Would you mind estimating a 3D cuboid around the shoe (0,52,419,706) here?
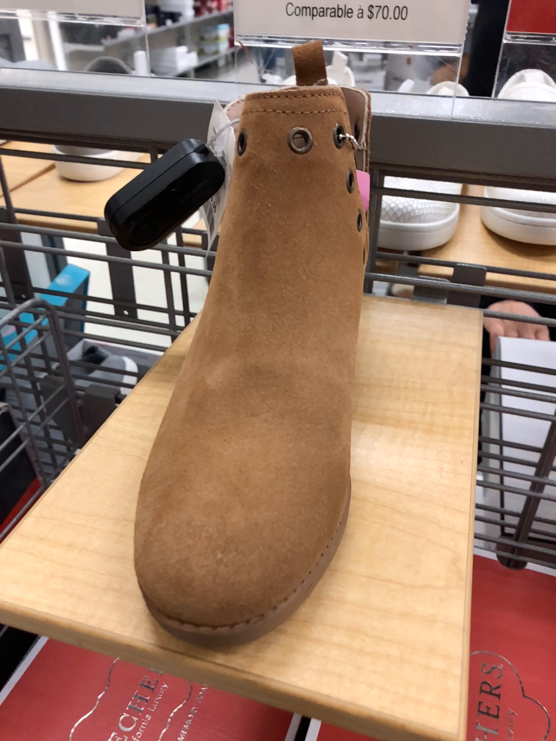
[{"bbox_3d":[-0.001,-0.041,0.262,0.092,0.129,0.282,8,36,10],"label":"shoe"}]
